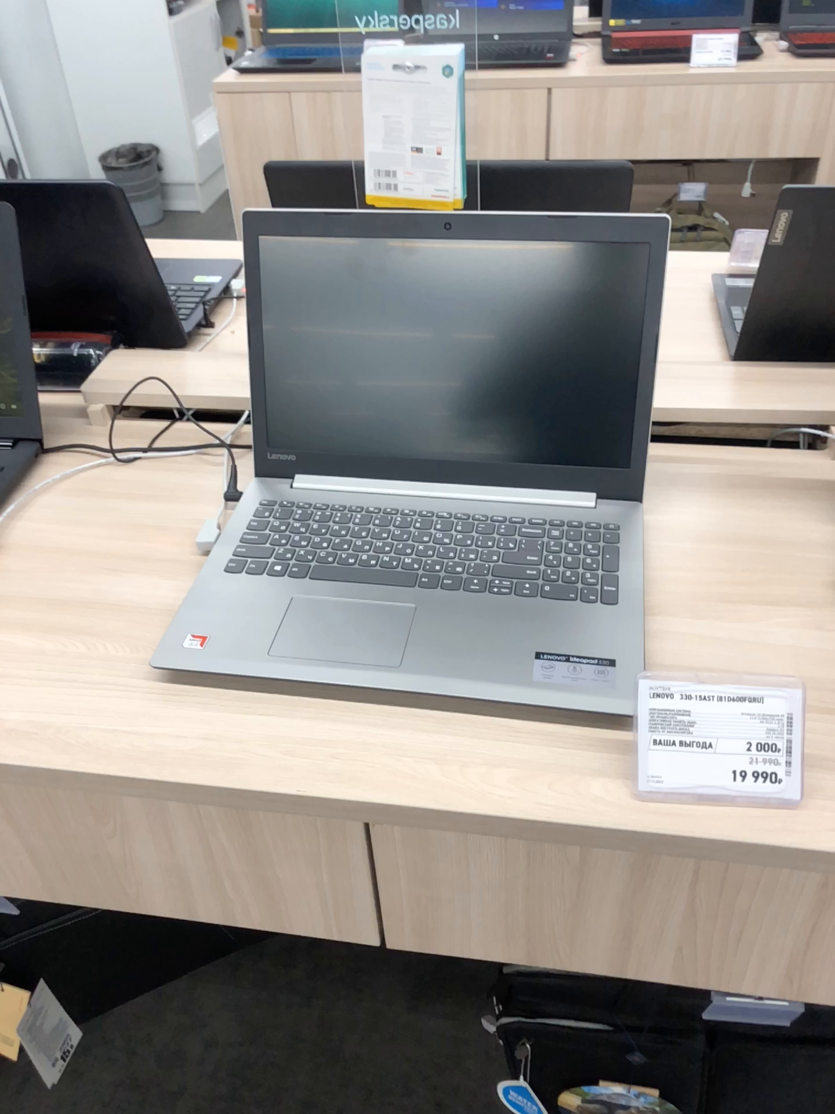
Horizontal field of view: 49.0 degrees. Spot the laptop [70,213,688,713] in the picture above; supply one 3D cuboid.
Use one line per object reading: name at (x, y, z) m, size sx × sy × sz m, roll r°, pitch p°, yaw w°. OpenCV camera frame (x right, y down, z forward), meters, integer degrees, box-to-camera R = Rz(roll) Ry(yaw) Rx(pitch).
laptop at (0.003, -0.102, 0.753) m, size 0.380 × 0.235 × 0.345 m, roll 4°, pitch 39°, yaw 10°
